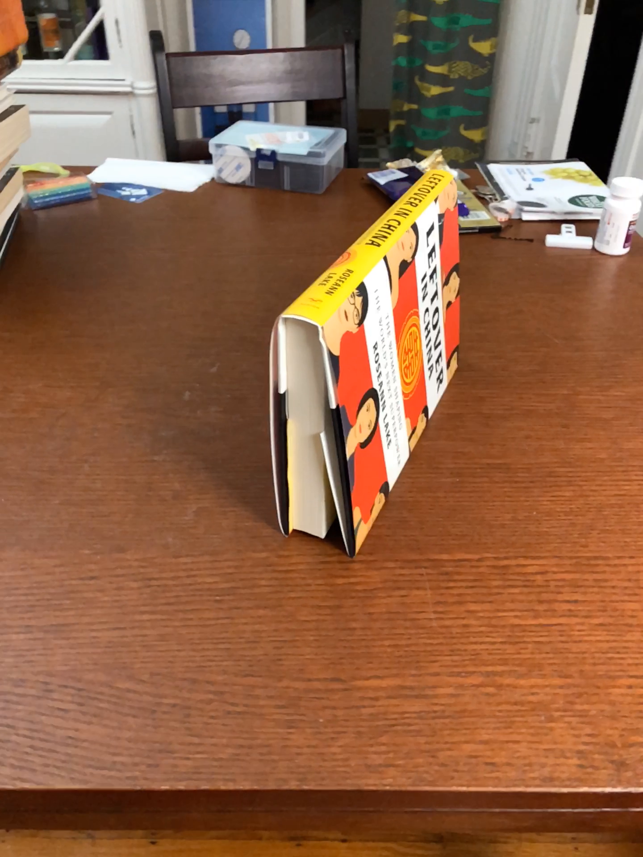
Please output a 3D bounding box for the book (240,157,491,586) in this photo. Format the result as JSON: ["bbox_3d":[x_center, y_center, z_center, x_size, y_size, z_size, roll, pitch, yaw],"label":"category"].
[{"bbox_3d":[0.041,-0.054,0.485,0.060,0.179,0.261,16,40,19],"label":"book"}]
